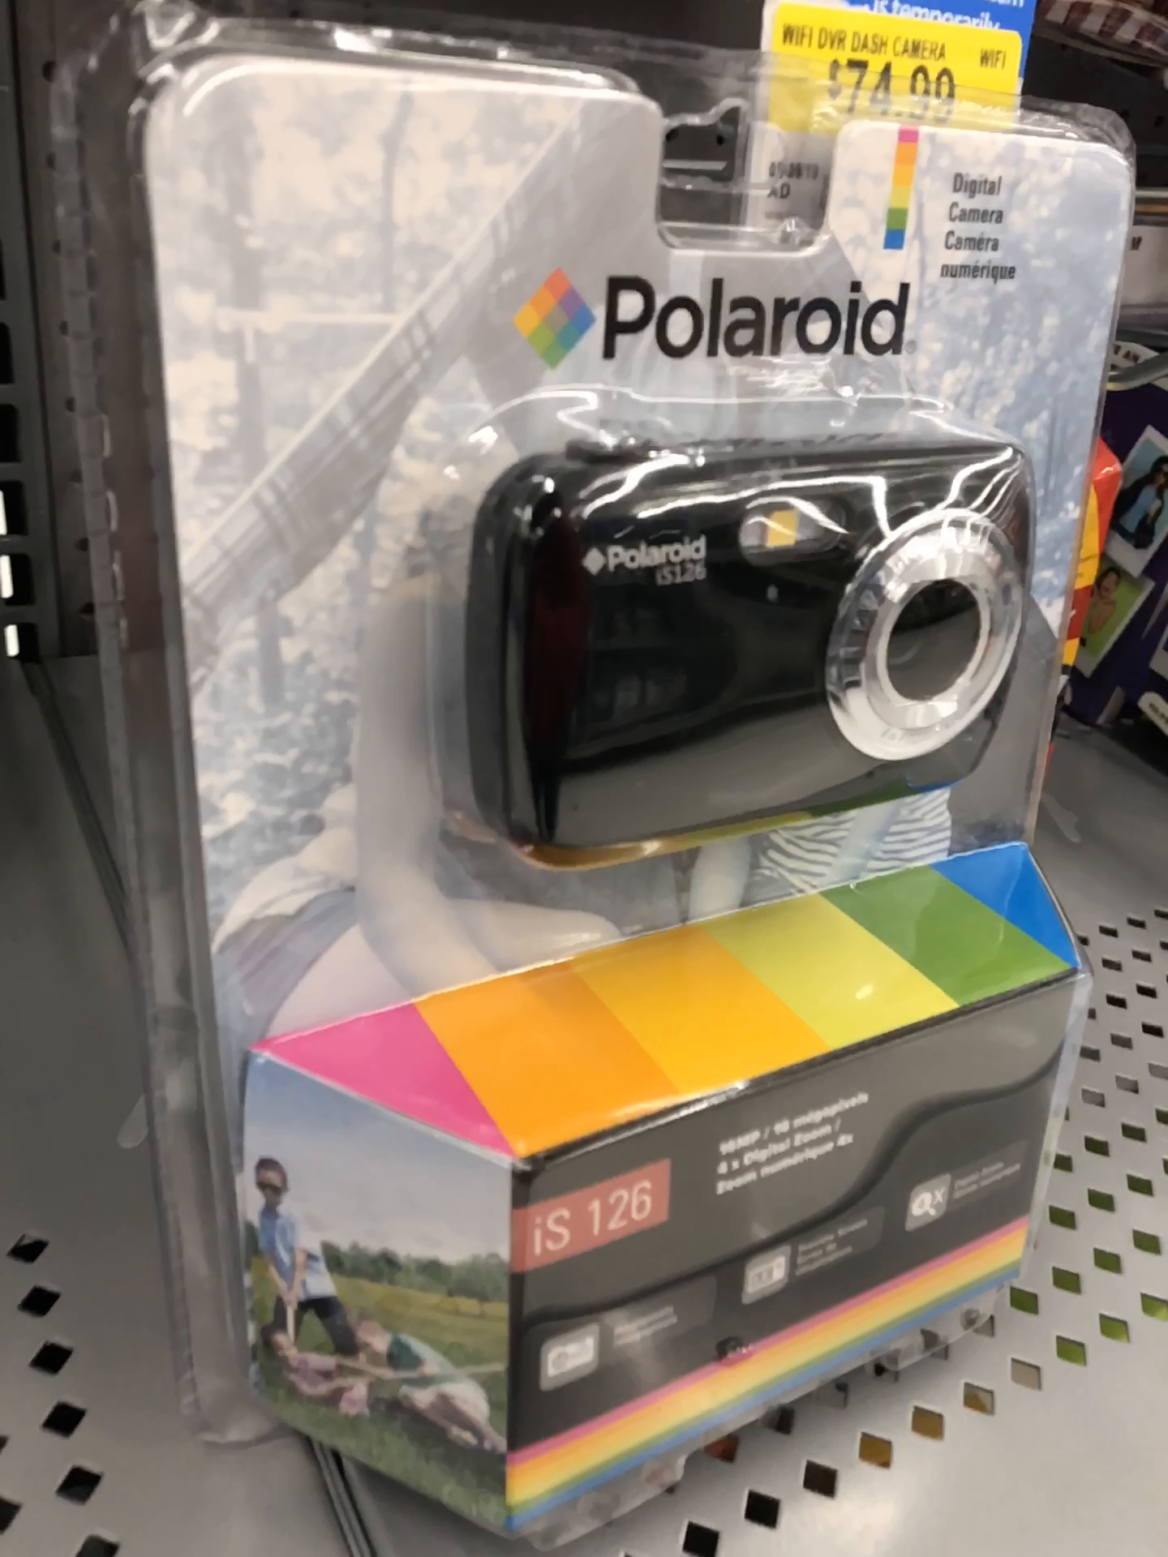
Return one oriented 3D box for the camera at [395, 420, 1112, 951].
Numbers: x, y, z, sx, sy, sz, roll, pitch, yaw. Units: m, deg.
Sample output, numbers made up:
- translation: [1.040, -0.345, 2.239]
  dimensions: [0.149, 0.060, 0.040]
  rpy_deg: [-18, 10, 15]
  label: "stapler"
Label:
- translation: [0.025, -0.018, 0.196]
  dimensions: [0.100, 0.060, 0.030]
  rpy_deg: [-11, 36, -29]
  label: "camera"
